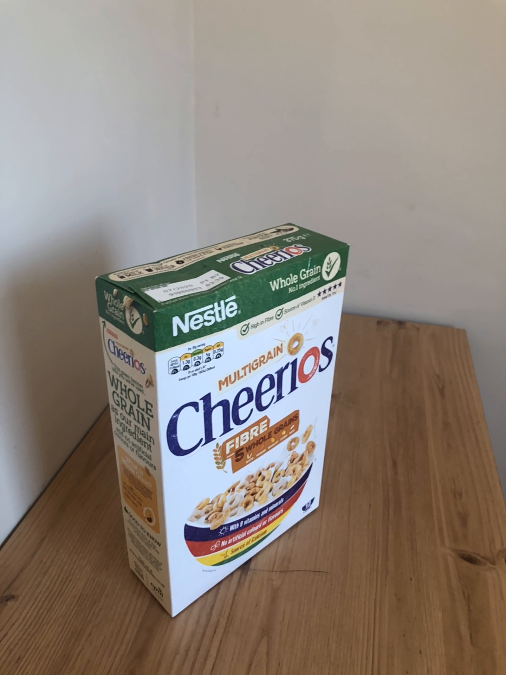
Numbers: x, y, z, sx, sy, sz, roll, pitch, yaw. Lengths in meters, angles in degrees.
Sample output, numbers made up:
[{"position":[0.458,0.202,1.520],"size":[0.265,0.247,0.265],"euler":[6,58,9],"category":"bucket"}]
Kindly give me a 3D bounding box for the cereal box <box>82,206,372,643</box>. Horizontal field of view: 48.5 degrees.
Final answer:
[{"position":[-0.013,0.068,0.480],"size":[0.211,0.308,0.080],"euler":[-24,38,-39],"category":"cereal box"}]
